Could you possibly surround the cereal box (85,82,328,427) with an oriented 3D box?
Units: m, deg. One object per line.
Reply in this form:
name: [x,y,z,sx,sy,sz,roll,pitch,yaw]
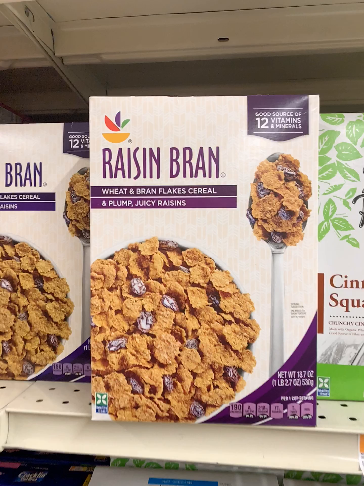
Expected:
cereal box: [0.019,0.009,0.334,0.190,0.270,0.070,0,3,4]
